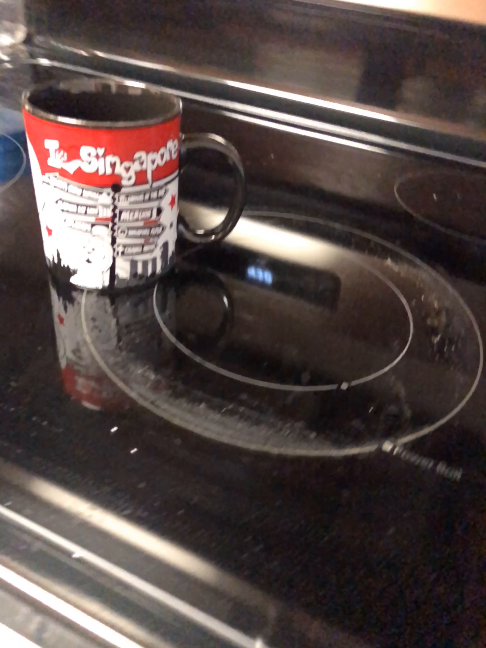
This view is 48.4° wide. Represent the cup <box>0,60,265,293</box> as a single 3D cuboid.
[{"bbox_3d":[-0.060,-0.084,0.305,0.130,0.090,0.090,3,37,-5],"label":"cup"}]
